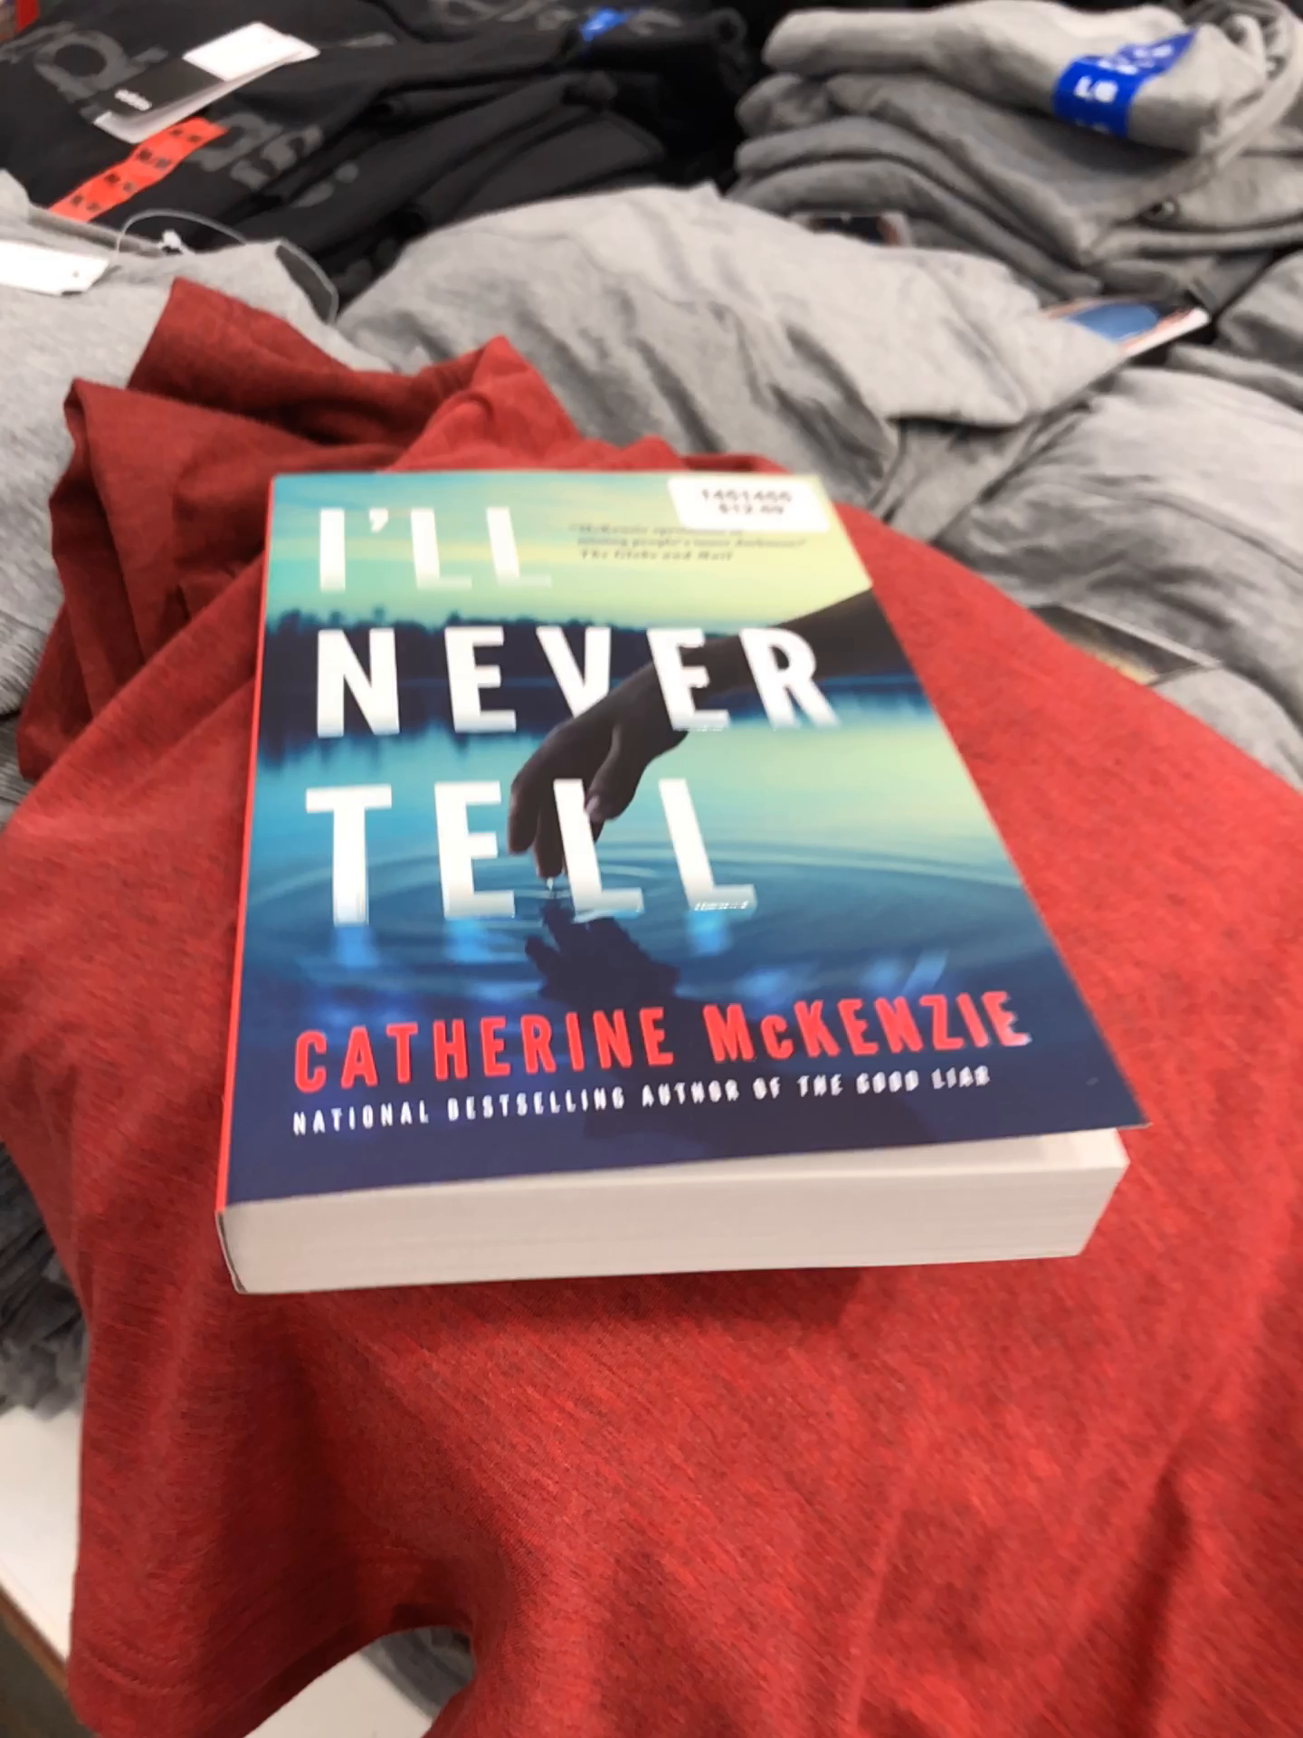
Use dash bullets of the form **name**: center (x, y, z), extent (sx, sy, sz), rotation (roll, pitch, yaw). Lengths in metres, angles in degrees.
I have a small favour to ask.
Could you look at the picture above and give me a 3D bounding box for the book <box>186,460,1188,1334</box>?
- **book**: center (-0.009, -0.017, 0.290), extent (0.143, 0.032, 0.209), rotation (-2, 42, -11)
